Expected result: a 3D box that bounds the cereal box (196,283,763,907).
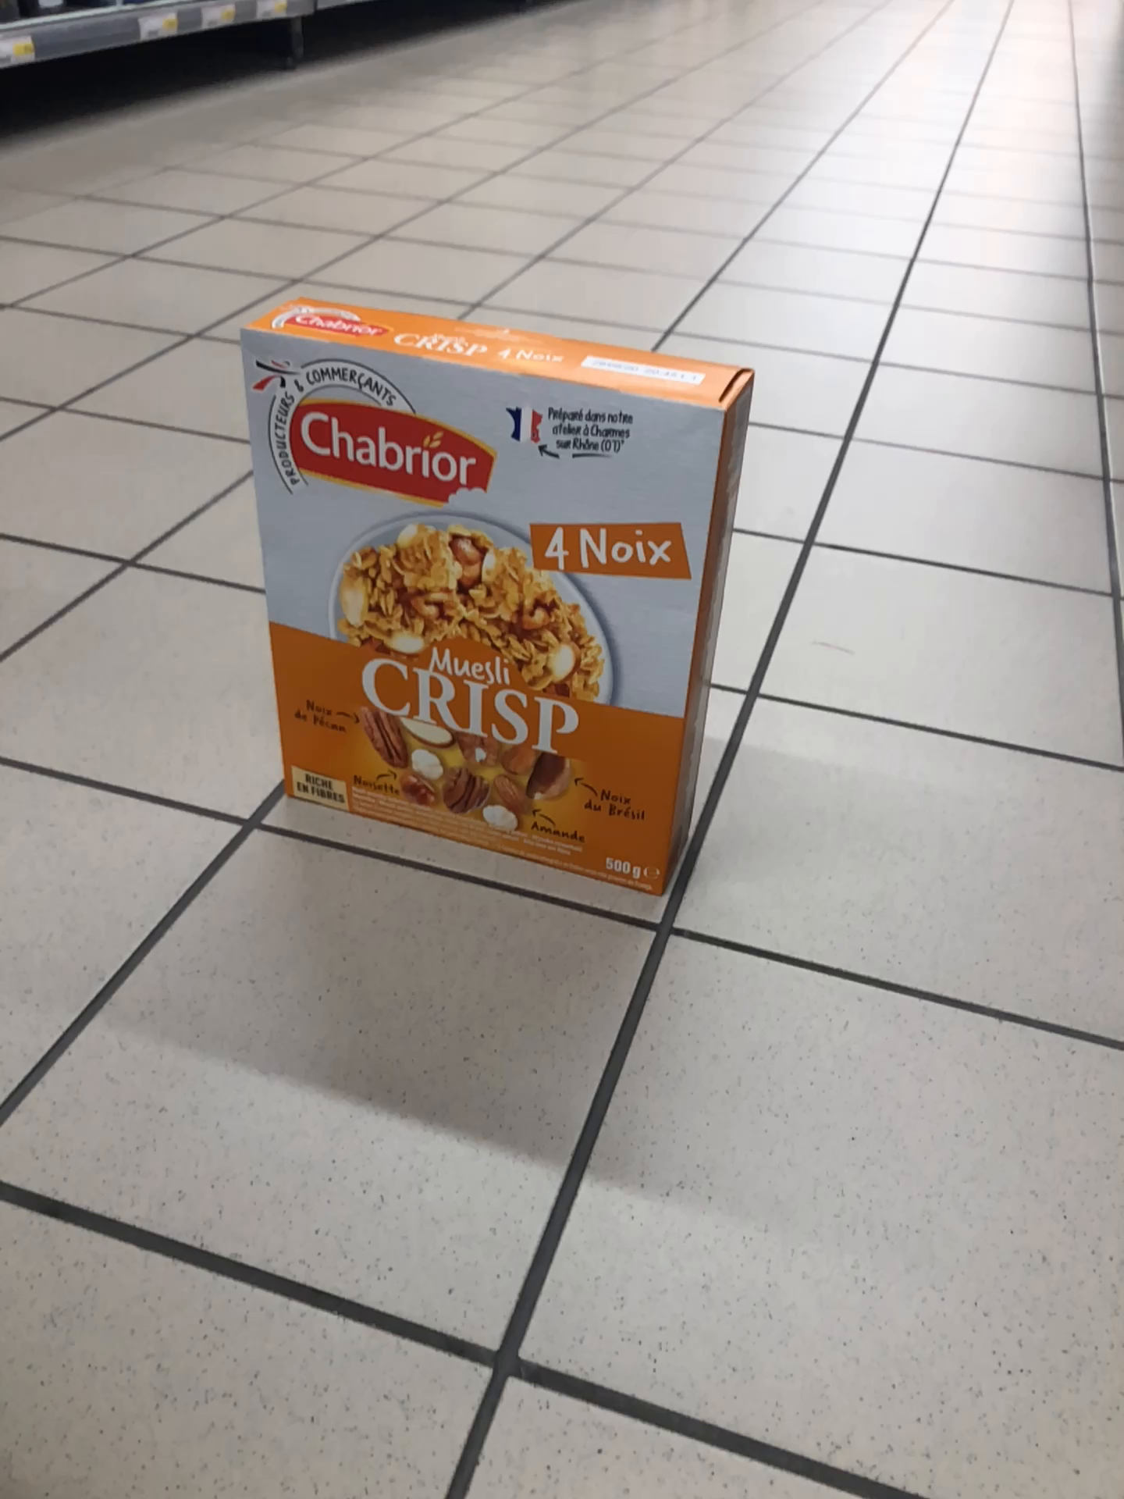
[{"bbox_3d":[-0.035,-0.061,0.517,0.200,0.219,0.060,14,36,15],"label":"cereal box"}]
